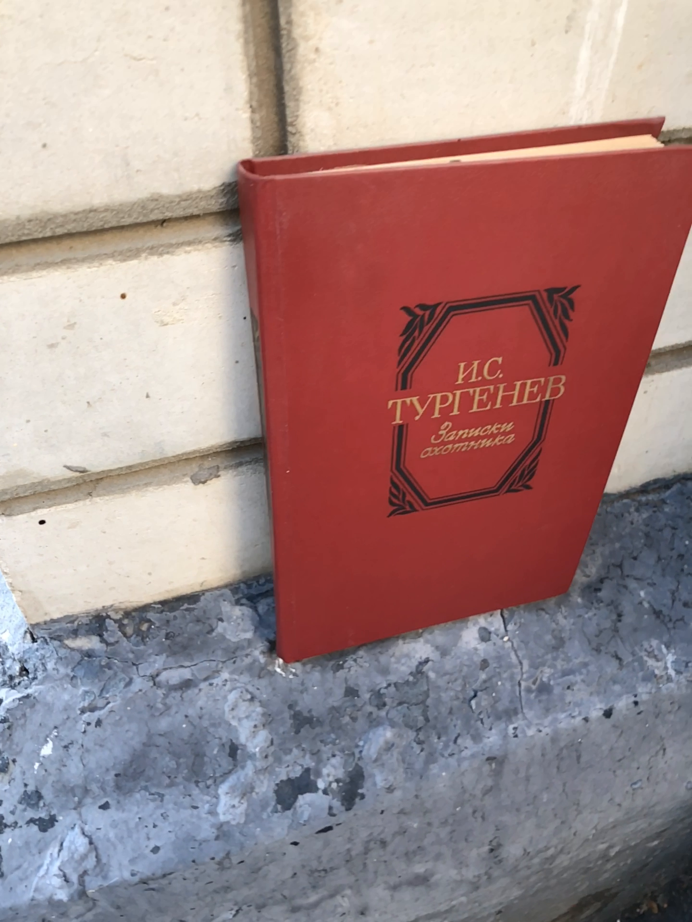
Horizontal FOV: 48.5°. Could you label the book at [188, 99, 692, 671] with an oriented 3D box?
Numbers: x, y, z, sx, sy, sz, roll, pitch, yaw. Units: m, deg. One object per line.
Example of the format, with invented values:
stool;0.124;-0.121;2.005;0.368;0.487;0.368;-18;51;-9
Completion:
book;0.034;-0.012;0.279;0.147;0.205;0.026;-11;41;-10
